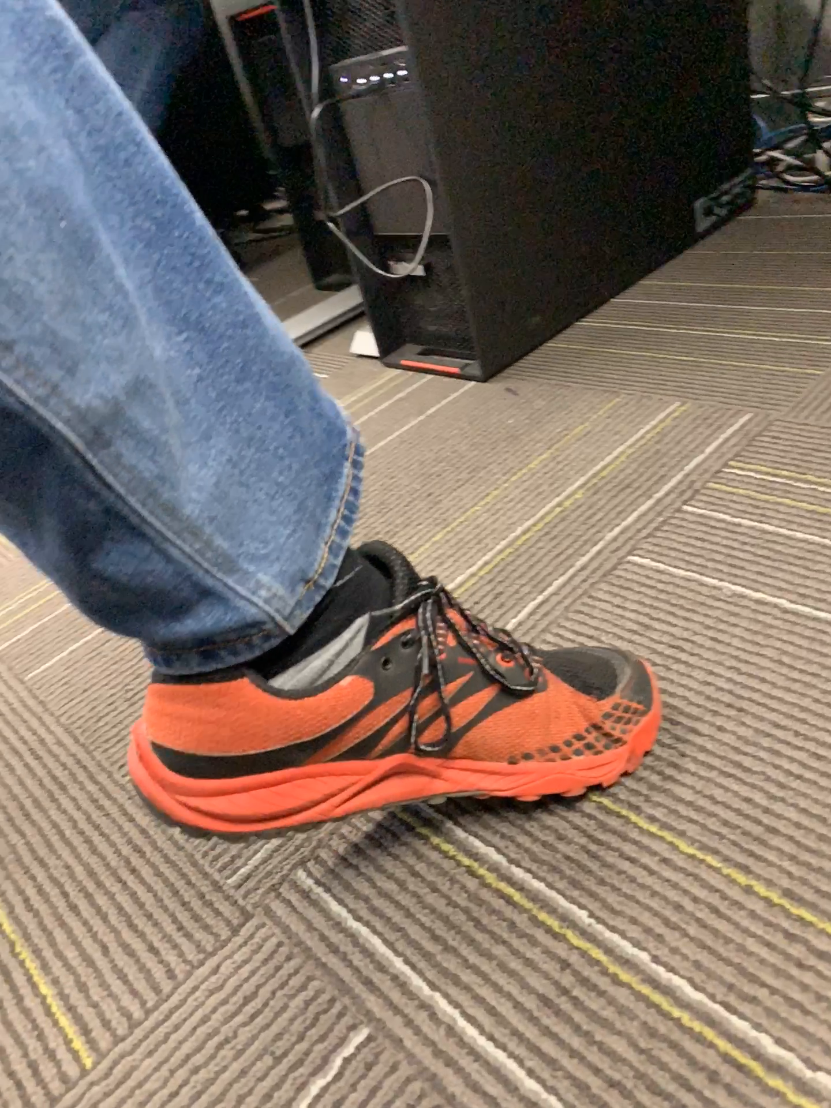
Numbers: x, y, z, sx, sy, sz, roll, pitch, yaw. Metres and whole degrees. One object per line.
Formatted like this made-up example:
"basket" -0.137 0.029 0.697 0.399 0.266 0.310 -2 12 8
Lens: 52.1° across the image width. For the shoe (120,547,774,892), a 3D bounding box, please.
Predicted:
"shoe" 0.012 0.068 0.453 0.313 0.106 0.127 -1 18 -22
